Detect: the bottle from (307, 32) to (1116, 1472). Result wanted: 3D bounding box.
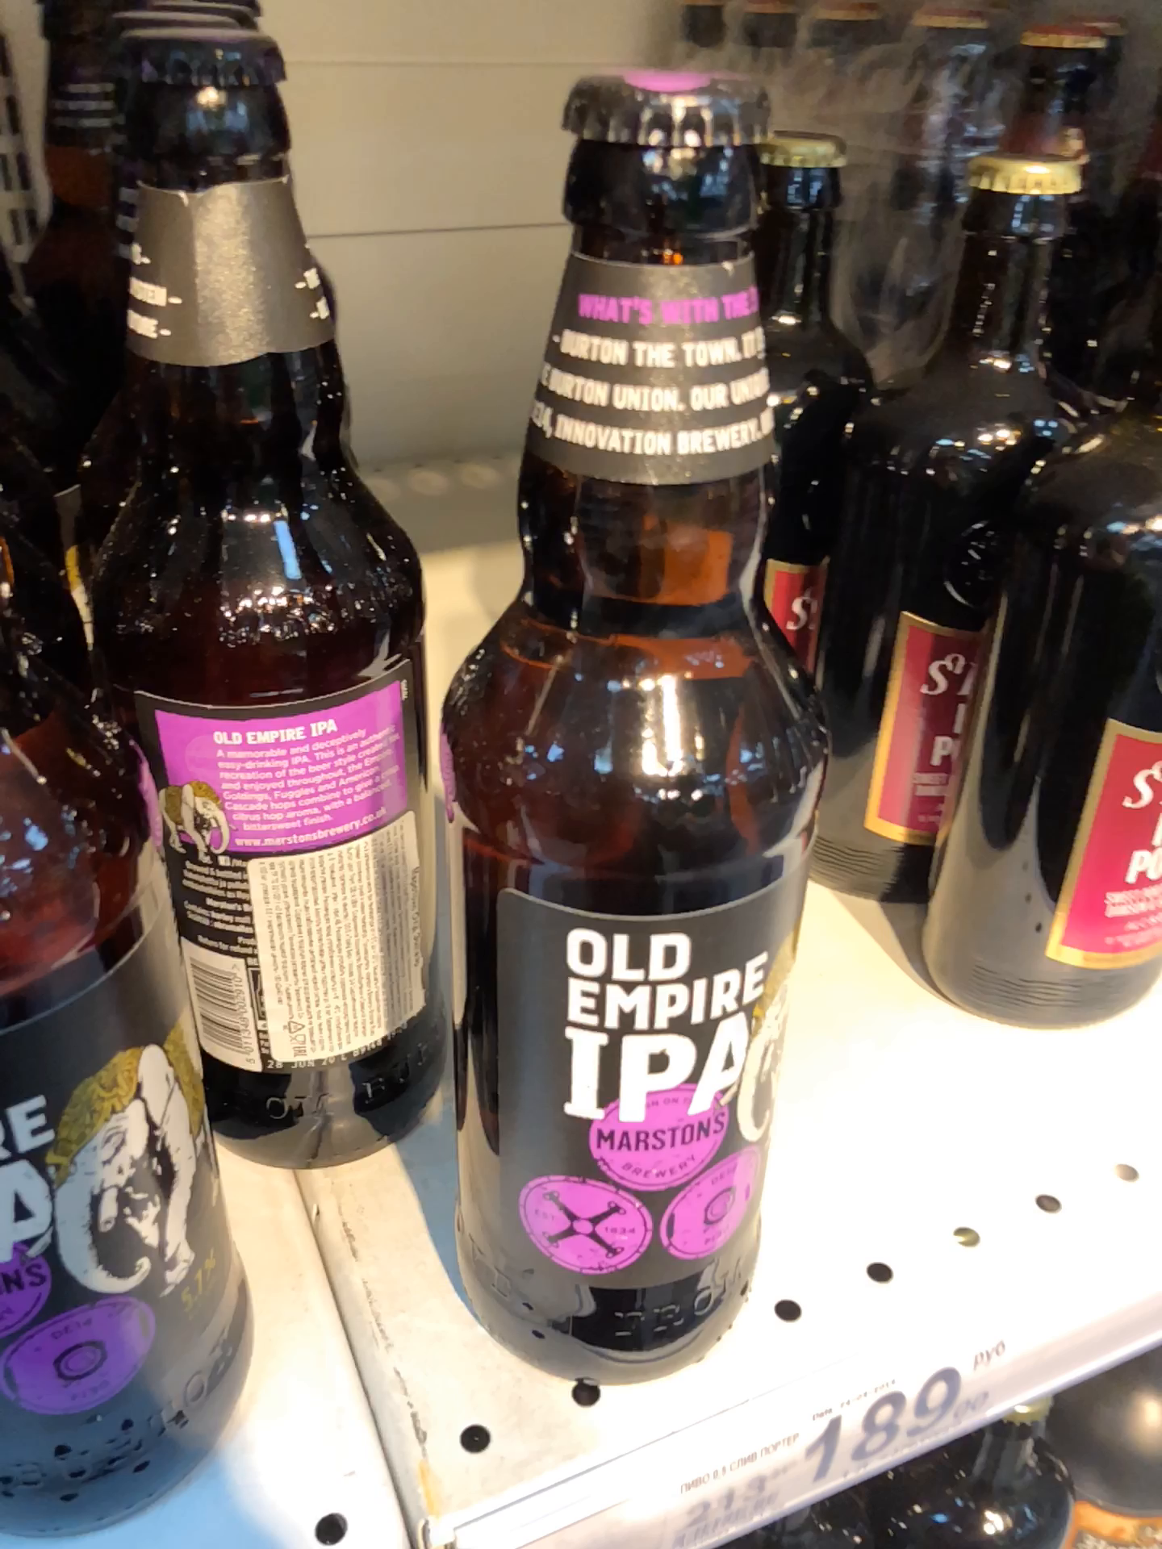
[{"bbox_3d":[0.009,0.006,0.231,0.080,0.239,0.080,1,31,-1],"label":"bottle"}]
